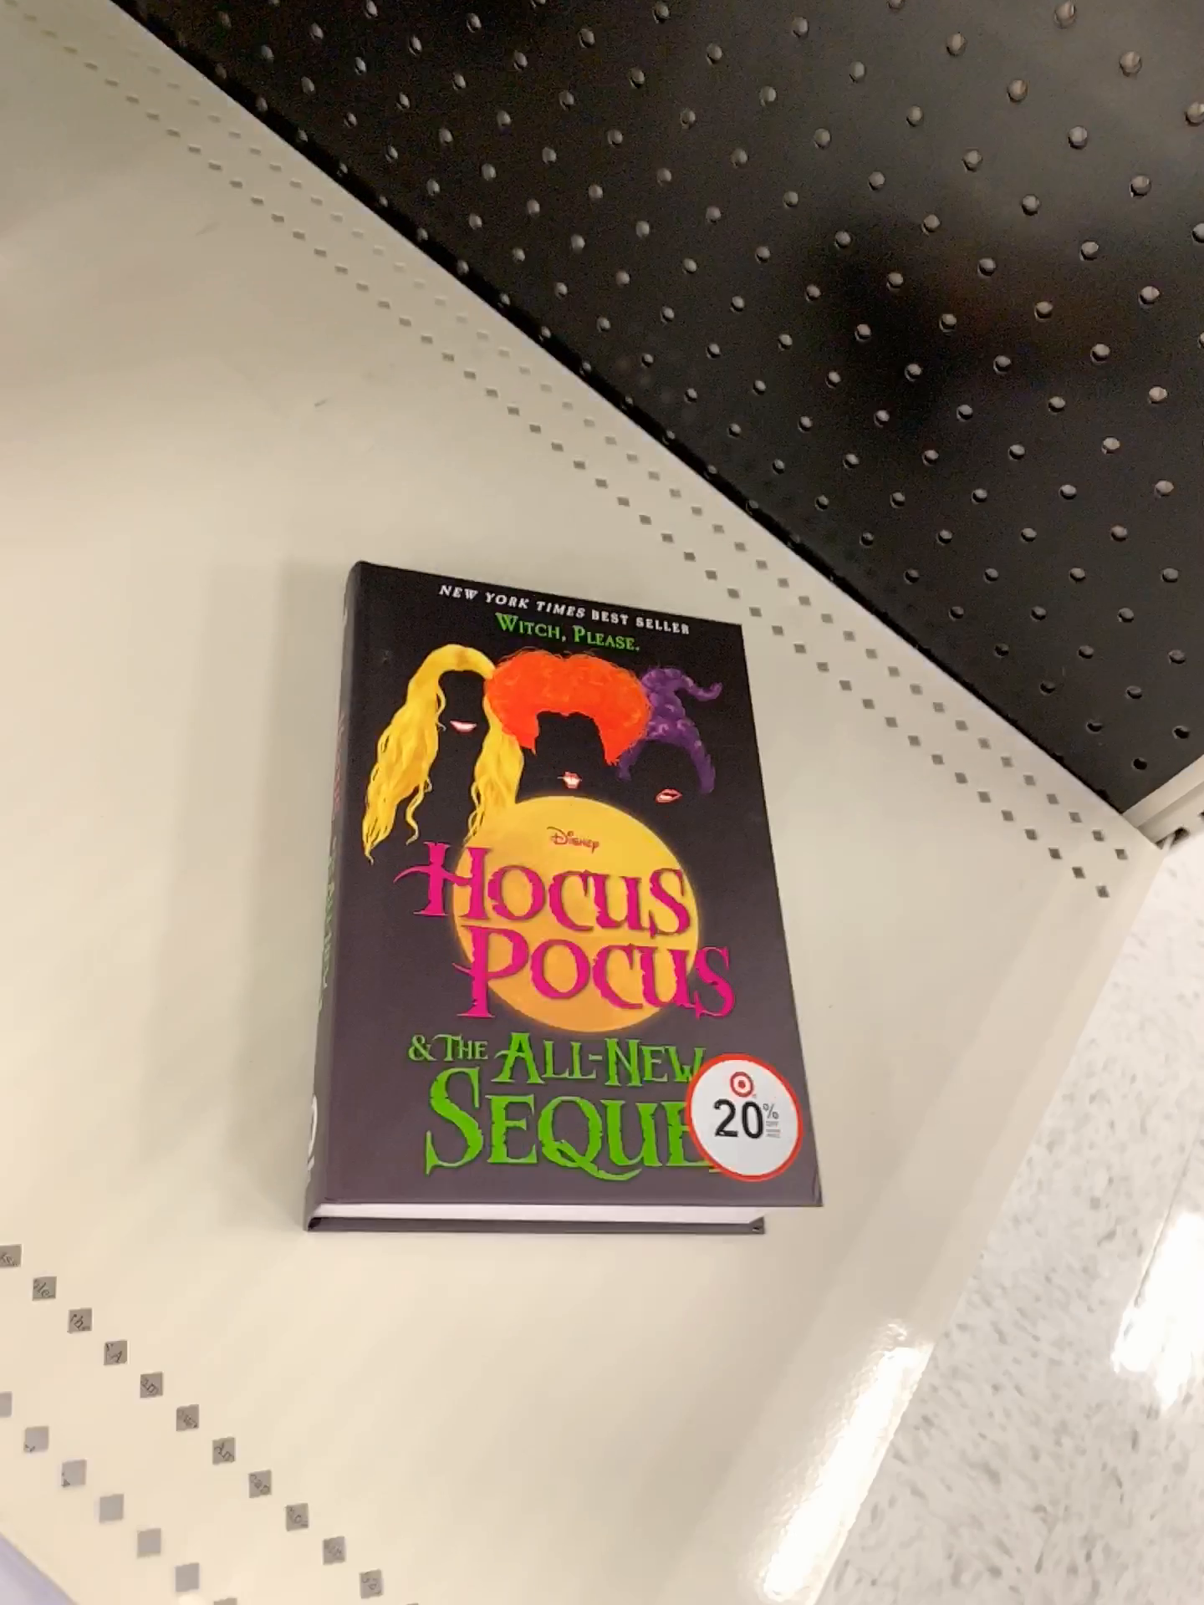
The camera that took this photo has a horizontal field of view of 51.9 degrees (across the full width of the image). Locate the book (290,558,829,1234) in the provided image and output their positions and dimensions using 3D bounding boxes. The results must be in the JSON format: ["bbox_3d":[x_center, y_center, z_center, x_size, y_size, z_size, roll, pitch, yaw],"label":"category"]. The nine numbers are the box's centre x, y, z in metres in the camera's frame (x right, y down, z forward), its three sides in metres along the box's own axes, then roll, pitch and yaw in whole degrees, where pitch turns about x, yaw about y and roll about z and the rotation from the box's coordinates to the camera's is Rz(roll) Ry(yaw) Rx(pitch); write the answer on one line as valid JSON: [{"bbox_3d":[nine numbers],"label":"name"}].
[{"bbox_3d":[-0.018,0.029,0.409,0.149,0.050,0.210,6,59,-18],"label":"book"}]
